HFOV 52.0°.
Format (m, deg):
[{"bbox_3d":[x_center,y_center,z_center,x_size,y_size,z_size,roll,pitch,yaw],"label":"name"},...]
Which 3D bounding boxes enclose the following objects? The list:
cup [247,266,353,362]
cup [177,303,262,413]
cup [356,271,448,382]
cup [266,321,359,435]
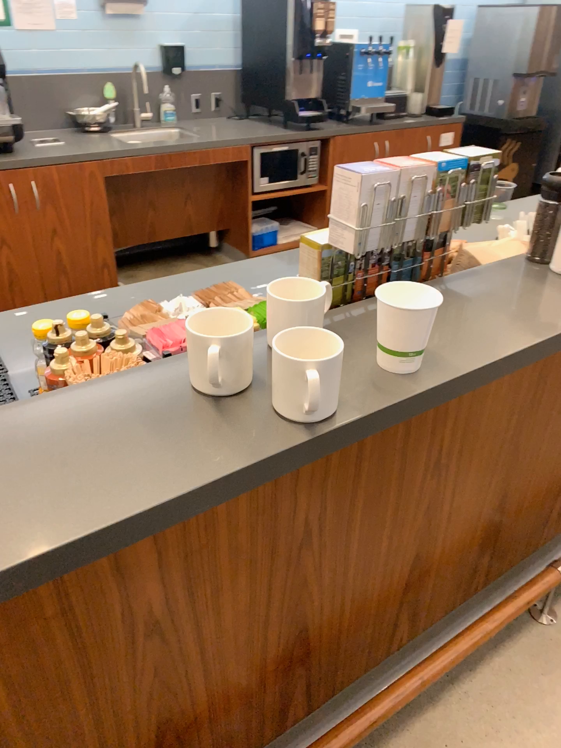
[{"bbox_3d":[0.025,-0.089,0.826,0.120,0.089,0.091,-13,35,-22],"label":"cup"},{"bbox_3d":[-0.067,-0.022,0.681,0.090,0.080,0.121,0,32,-2],"label":"cup"},{"bbox_3d":[0.162,-0.066,0.766,0.090,0.099,0.100,12,34,17],"label":"cup"},{"bbox_3d":[0.032,0.002,0.682,0.090,0.080,0.121,-2,32,-5],"label":"cup"}]
